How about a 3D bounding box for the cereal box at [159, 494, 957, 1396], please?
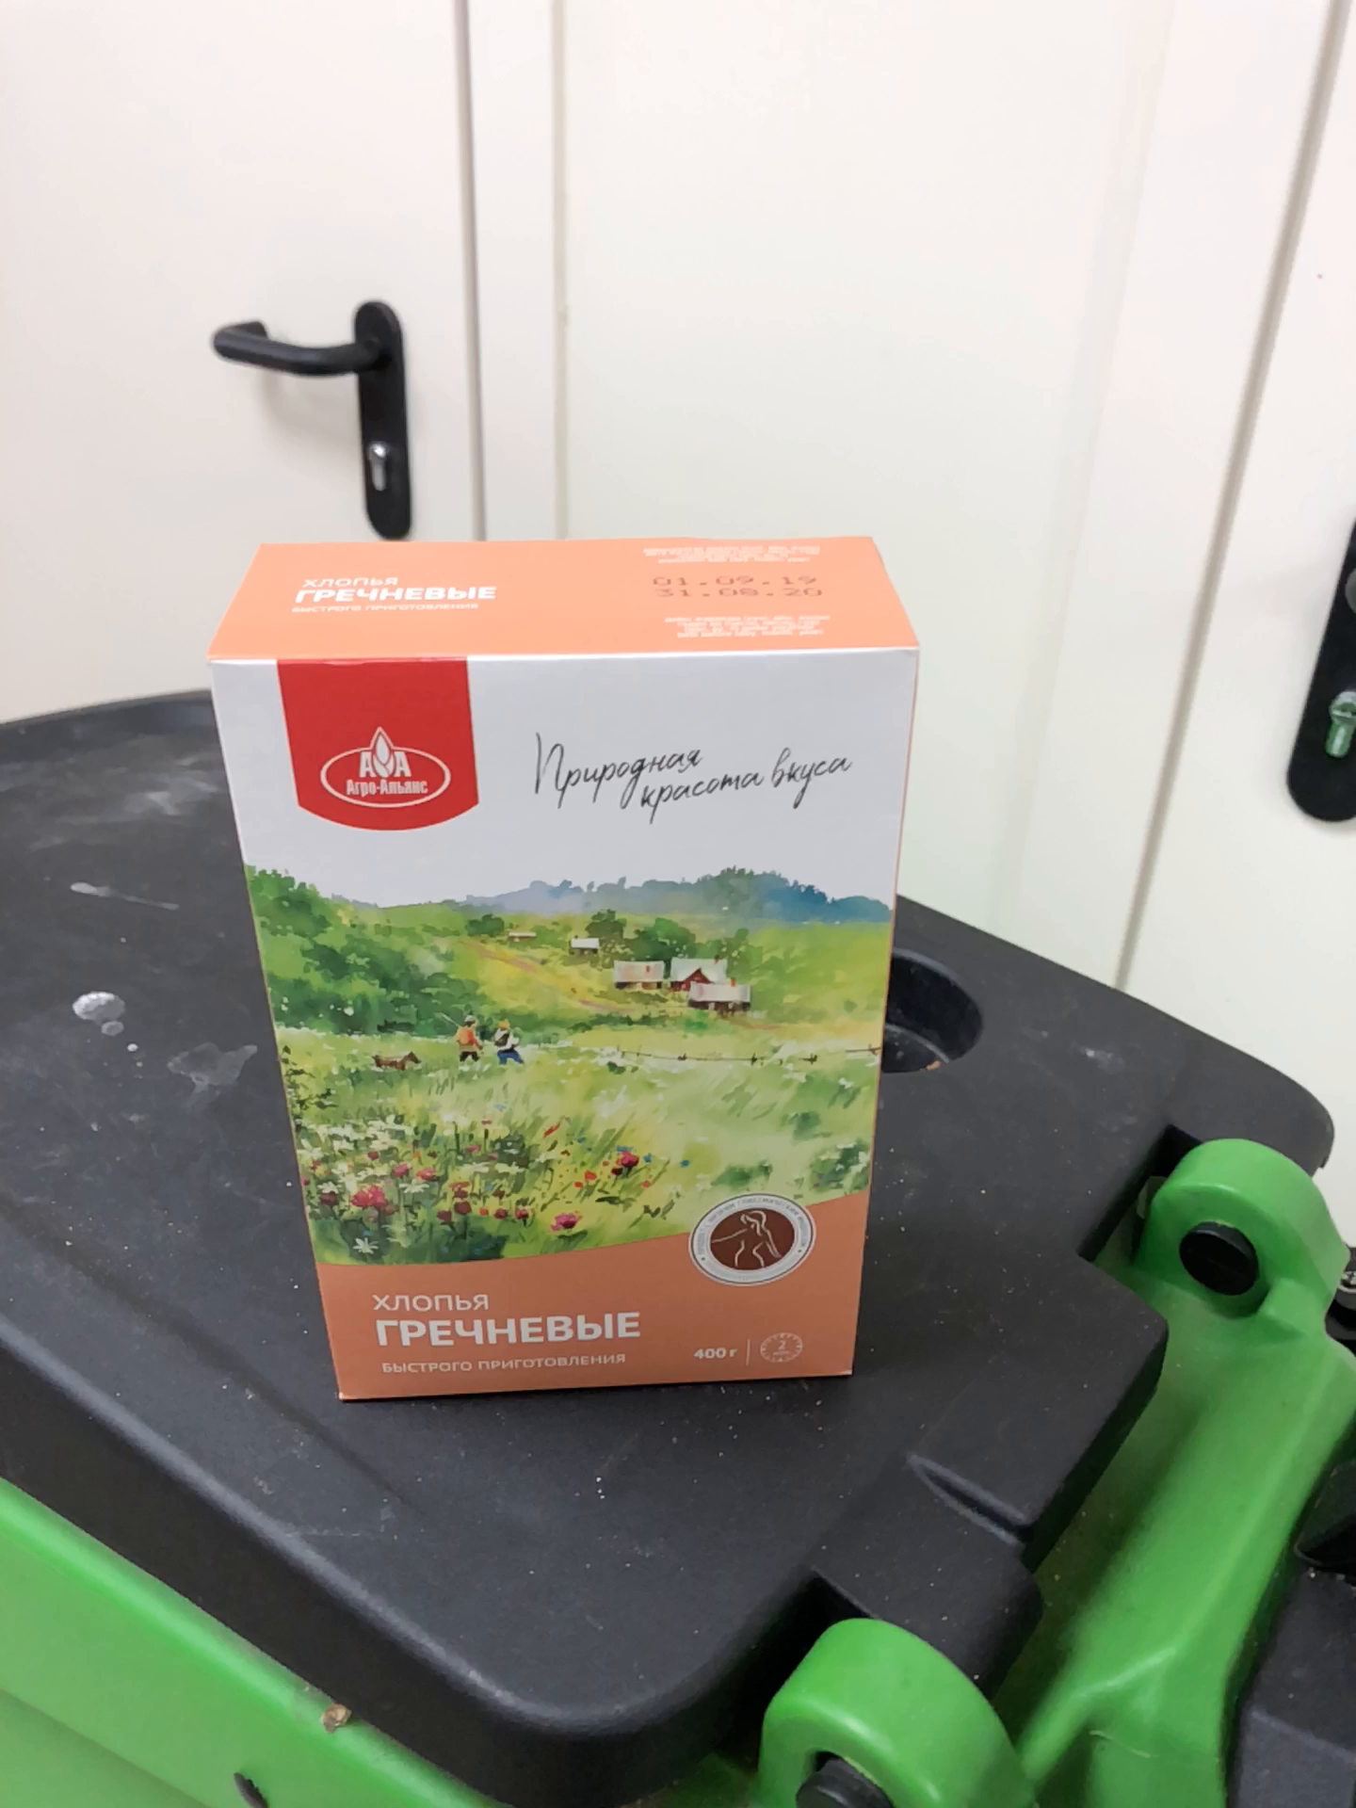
[{"bbox_3d":[-0.024,0.018,0.346,0.140,0.209,0.060,-1,34,-4],"label":"cereal box"}]
